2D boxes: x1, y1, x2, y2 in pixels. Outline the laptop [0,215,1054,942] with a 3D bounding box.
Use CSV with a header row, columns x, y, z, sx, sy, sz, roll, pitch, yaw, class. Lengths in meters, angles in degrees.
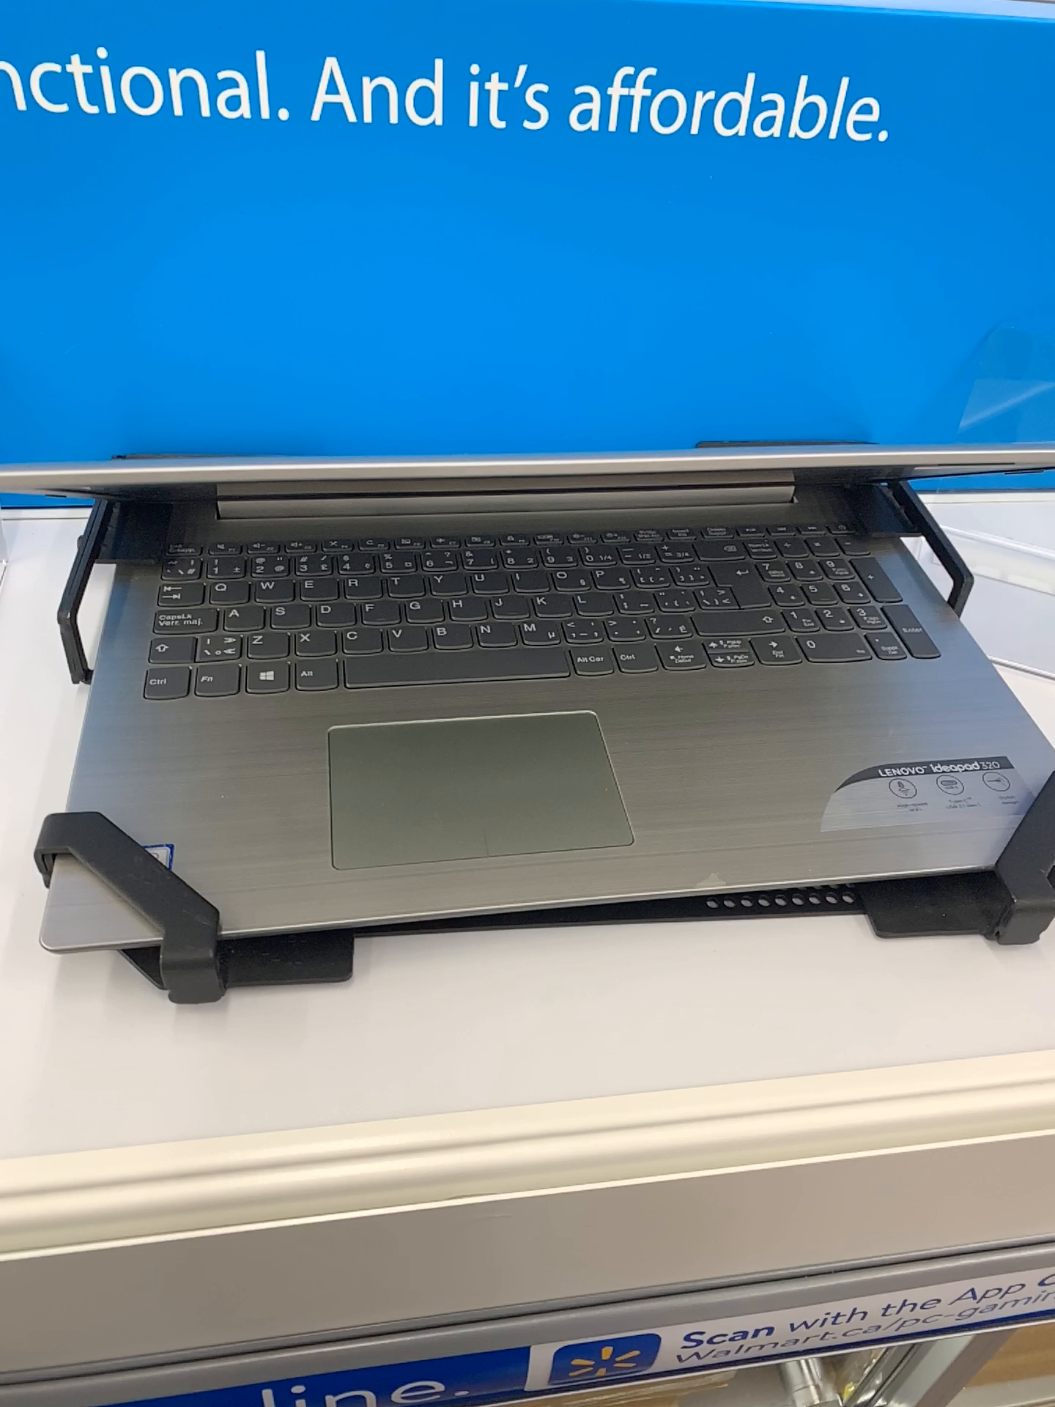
x,y,z,sx,sy,sz,roll,pitch,yaw,class
0.017,-0.062,0.360,0.324,0.110,0.220,-3,43,-10,laptop
